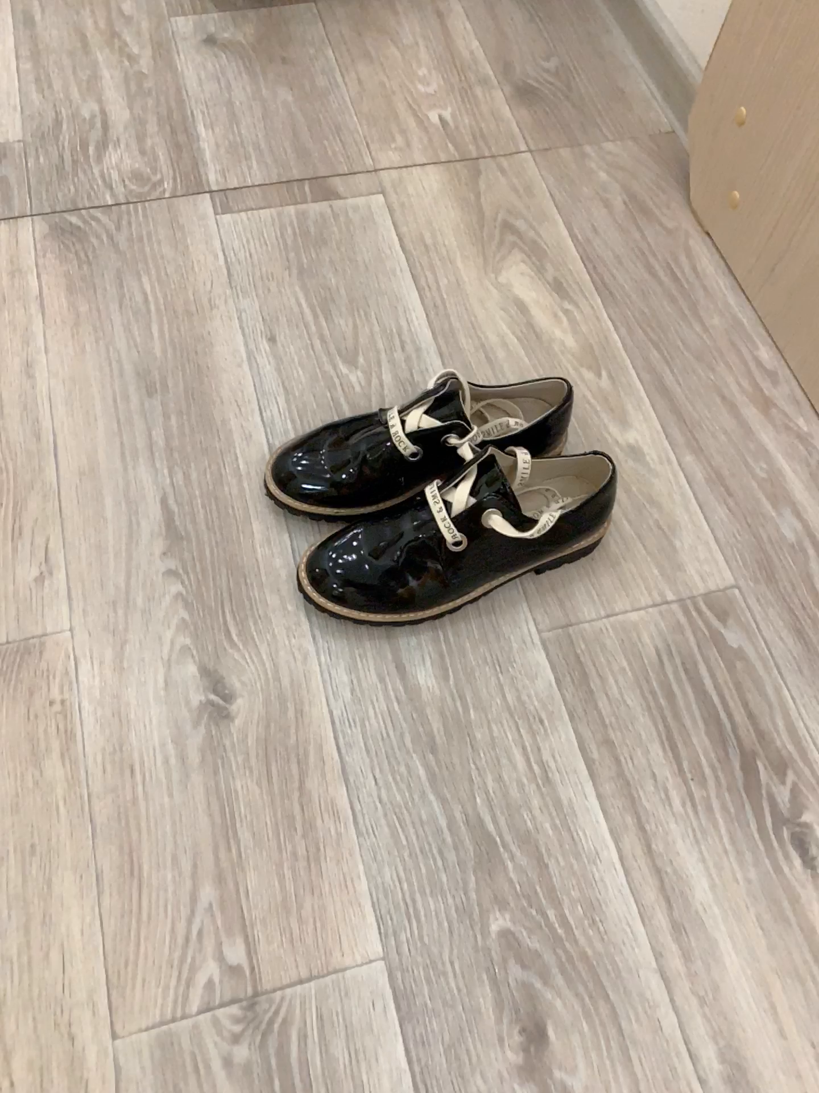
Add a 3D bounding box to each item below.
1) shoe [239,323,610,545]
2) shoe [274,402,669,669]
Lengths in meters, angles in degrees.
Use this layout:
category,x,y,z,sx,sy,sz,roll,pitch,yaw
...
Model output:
category,x,y,z,sx,sy,sz,roll,pitch,yaw
shoe,0.008,-0.092,0.693,0.270,0.100,0.100,-11,64,-9
shoe,0.044,-0.009,0.655,0.270,0.100,0.100,-17,65,-12
